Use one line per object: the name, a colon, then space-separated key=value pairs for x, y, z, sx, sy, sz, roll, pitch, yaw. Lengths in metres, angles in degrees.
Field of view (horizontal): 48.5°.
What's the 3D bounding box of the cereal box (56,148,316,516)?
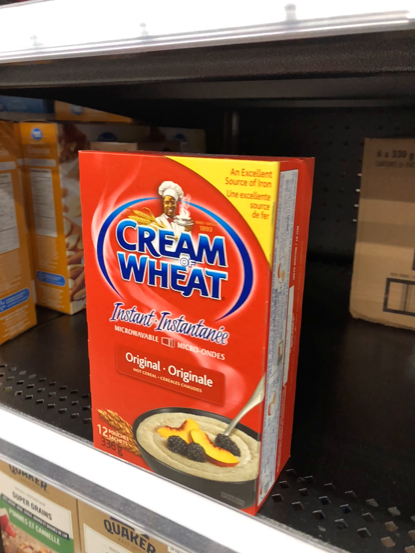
cereal box: x=-0.014 y=0.023 z=0.280 sx=0.130 sy=0.189 sz=0.060 roll=10 pitch=20 yaw=28
